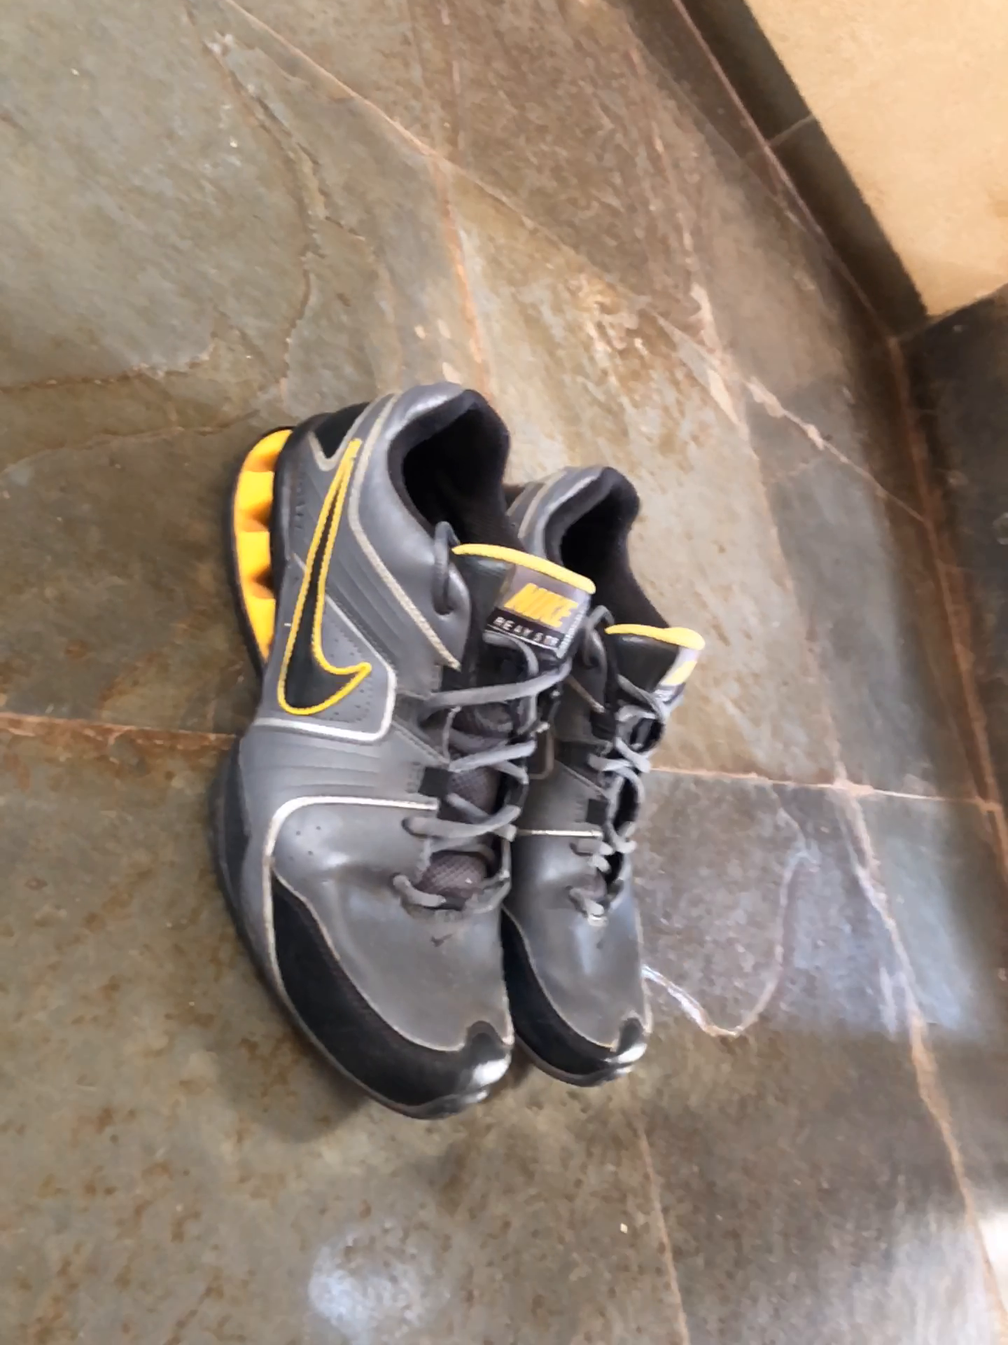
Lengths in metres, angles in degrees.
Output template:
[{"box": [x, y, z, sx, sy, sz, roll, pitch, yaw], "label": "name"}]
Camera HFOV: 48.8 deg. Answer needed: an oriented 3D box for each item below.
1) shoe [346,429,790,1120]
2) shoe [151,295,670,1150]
[{"box": [0.021, 0.042, 0.455, 0.101, 0.099, 0.240, 14, 60, -51], "label": "shoe"}, {"box": [-0.037, 0.018, 0.374, 0.101, 0.099, 0.240, 14, 60, -51], "label": "shoe"}]
